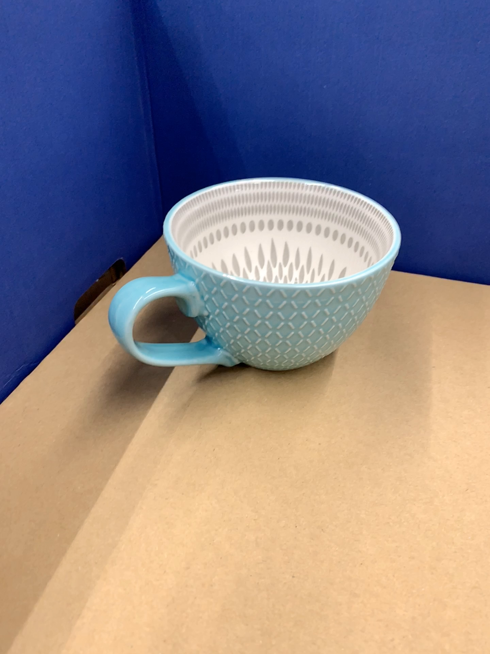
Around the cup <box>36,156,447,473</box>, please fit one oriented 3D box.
[{"bbox_3d":[-0.002,-0.022,0.252,0.152,0.059,0.112,-24,46,-29],"label":"cup"}]
